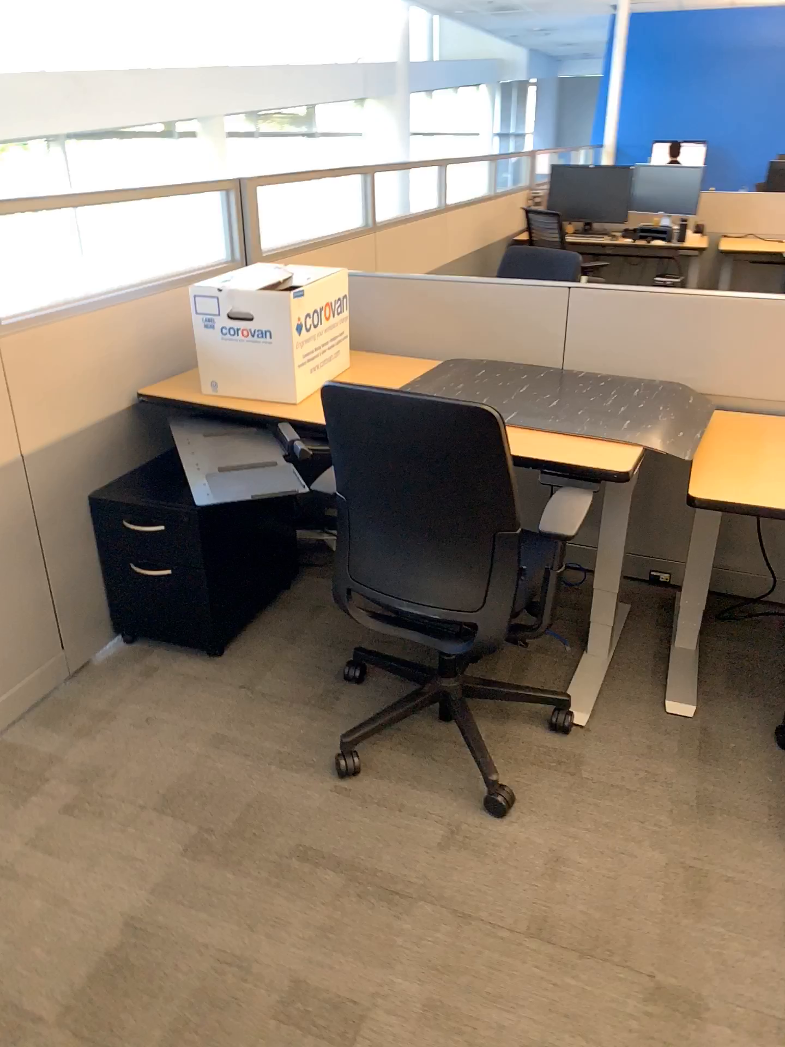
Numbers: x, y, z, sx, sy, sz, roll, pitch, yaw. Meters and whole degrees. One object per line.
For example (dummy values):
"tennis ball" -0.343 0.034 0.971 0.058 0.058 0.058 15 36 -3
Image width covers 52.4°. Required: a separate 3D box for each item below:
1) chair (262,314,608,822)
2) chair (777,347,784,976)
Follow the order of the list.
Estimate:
"chair" 0.120 0.064 1.988 0.562 0.994 0.602 14 29 26
"chair" 1.172 0.231 1.593 0.521 0.994 0.582 9 27 18
